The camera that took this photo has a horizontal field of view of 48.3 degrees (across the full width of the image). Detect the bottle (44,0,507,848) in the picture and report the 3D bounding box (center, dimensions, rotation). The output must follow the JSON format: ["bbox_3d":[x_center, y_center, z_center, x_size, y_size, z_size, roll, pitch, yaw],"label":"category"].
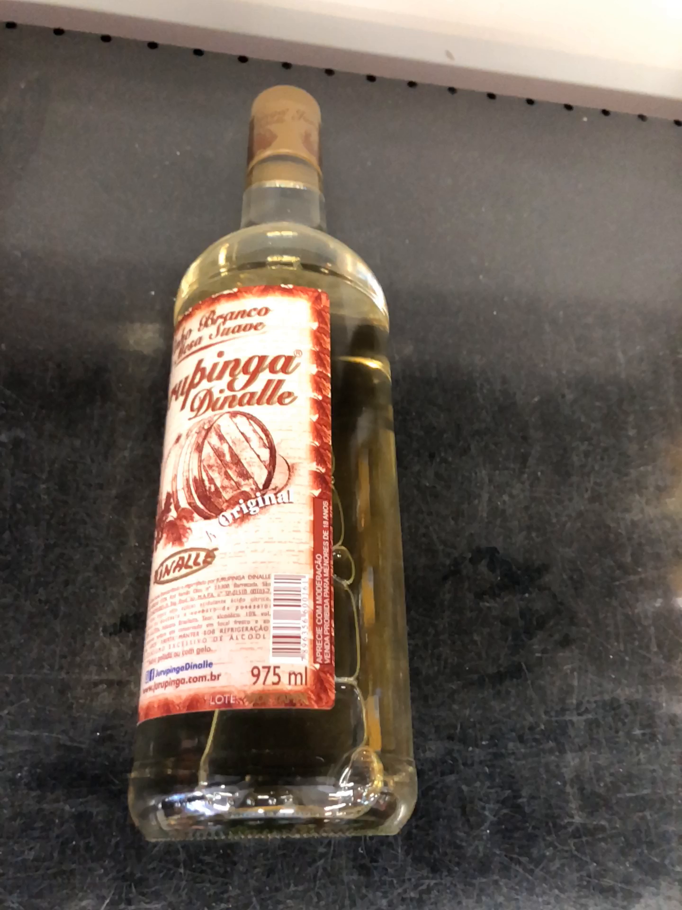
[{"bbox_3d":[-0.018,-0.031,0.275,0.100,0.080,0.301,22,57,-40],"label":"bottle"}]
